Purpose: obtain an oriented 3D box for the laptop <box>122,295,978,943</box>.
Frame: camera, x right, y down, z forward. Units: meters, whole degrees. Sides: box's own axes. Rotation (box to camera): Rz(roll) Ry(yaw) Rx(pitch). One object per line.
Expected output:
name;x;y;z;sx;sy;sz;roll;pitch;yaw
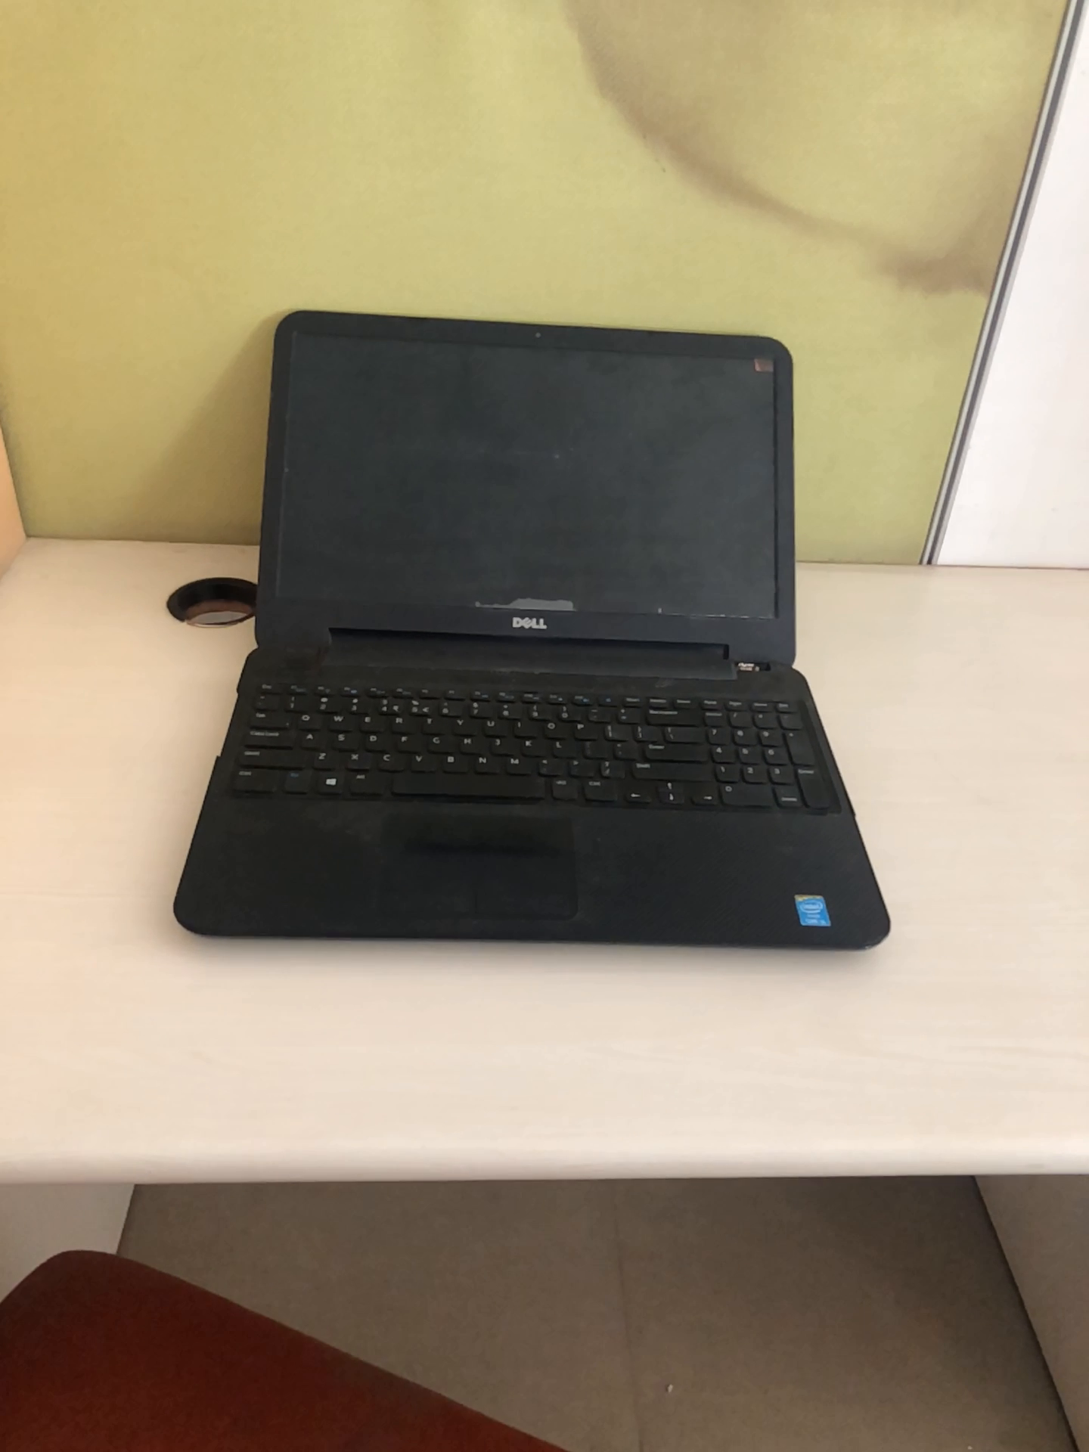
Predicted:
laptop;-0.004;-0.093;0.709;0.355;0.158;0.430;2;38;-4
